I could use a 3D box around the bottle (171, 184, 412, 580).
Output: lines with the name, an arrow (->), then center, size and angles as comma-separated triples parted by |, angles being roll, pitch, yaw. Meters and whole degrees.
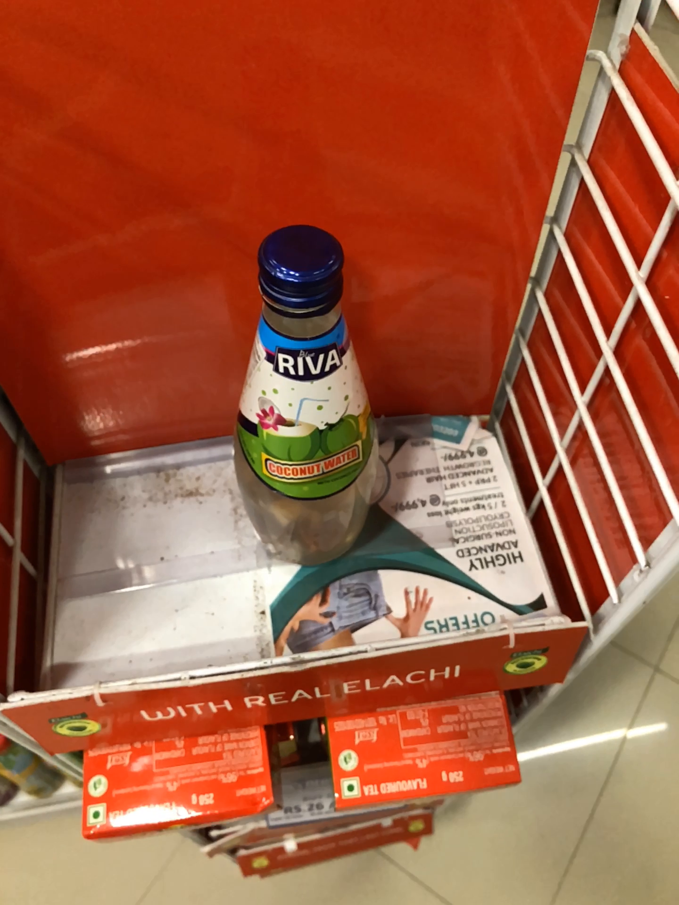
bottle -> -0.017, -0.016, 0.322 | 0.070, 0.179, 0.060 | -9, 58, -6
